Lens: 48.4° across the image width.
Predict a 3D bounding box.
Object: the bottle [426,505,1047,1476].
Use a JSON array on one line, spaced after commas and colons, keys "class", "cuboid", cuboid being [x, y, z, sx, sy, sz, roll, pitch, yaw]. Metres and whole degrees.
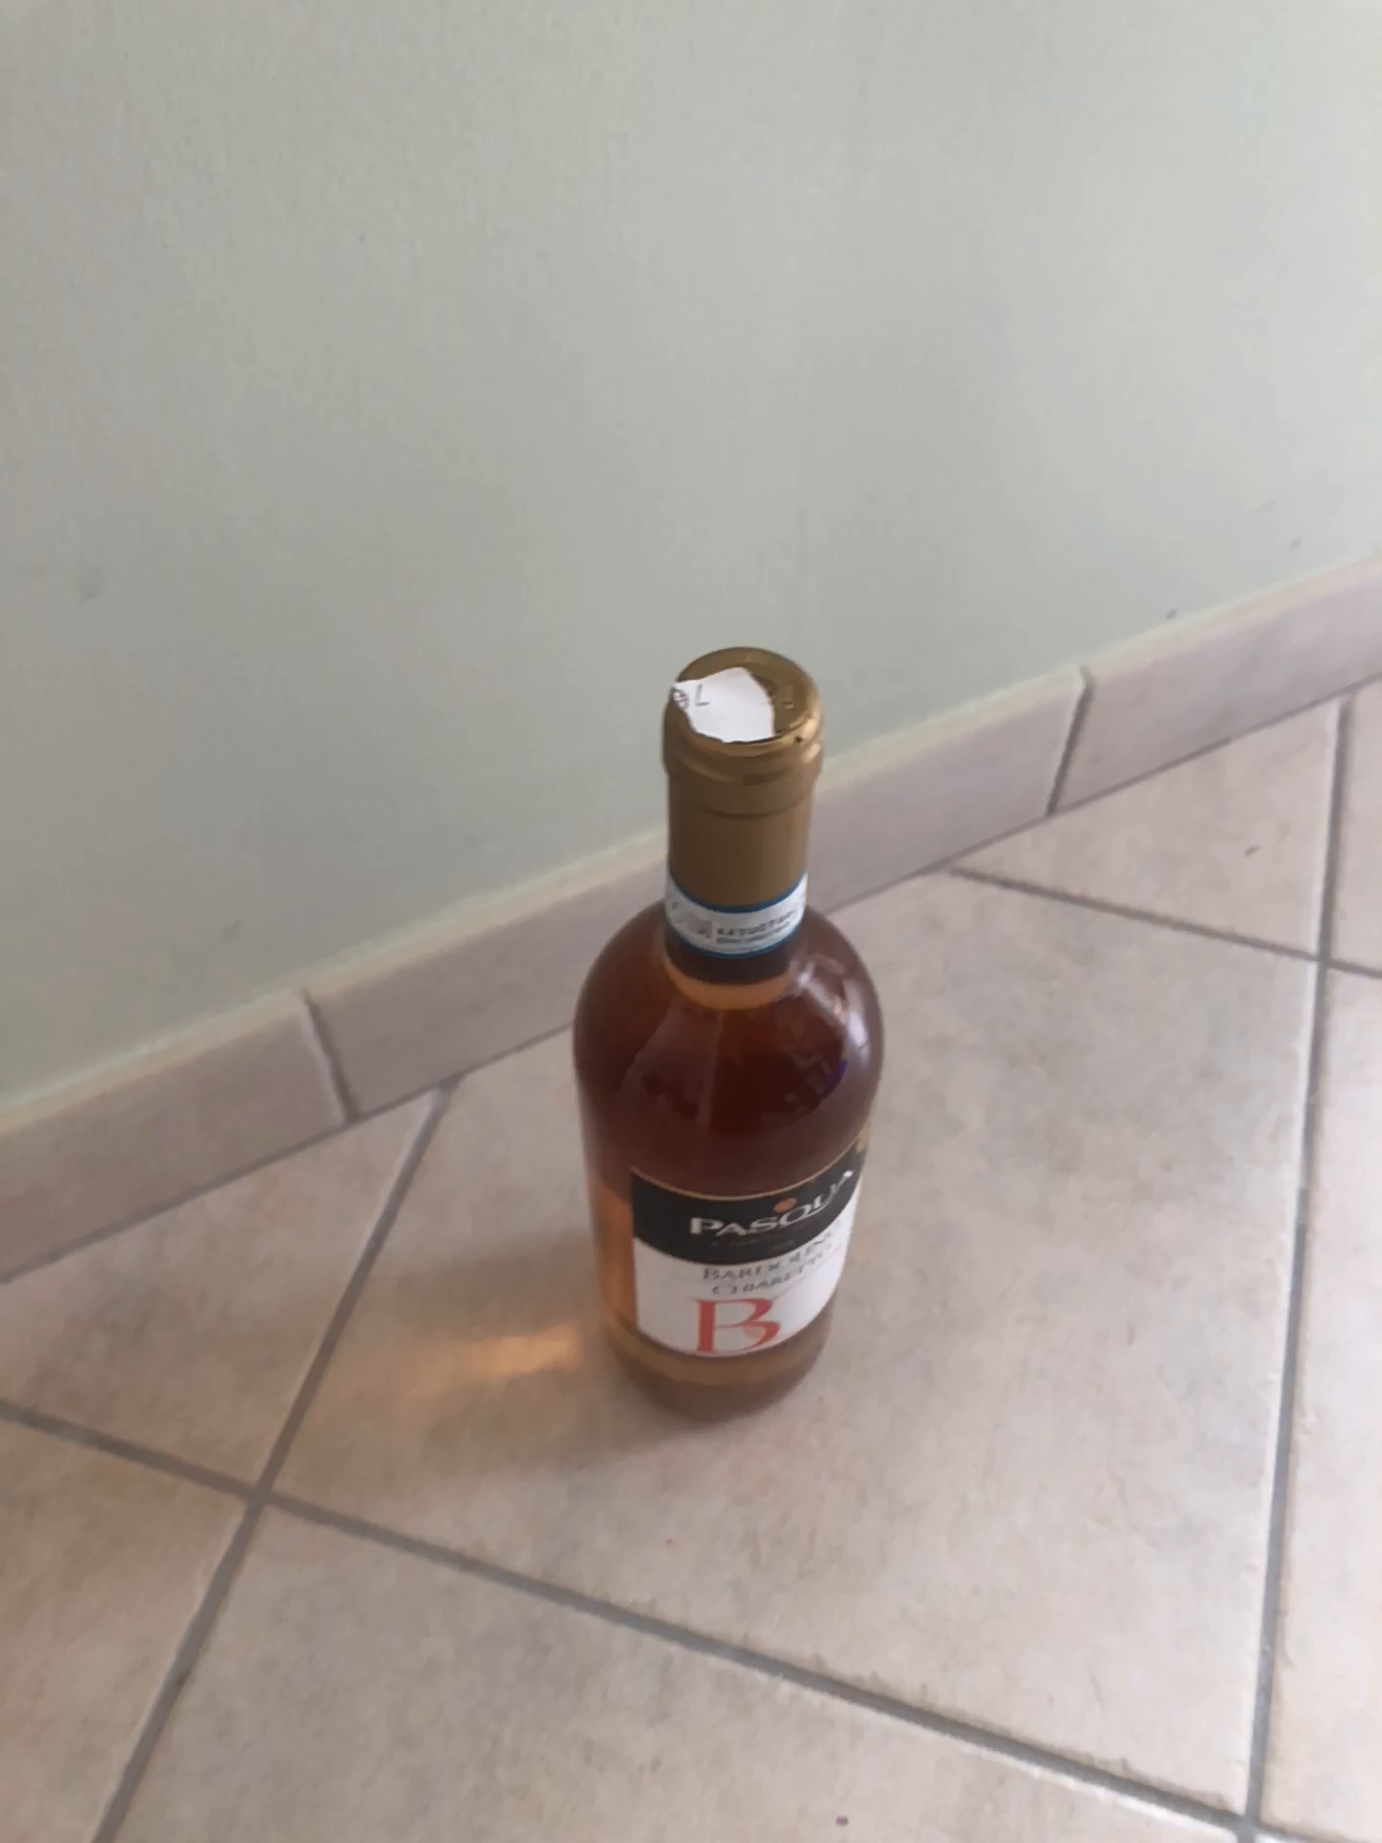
[{"class": "bottle", "cuboid": [0.004, 0.042, 0.366, 0.080, 0.269, 0.080, 0, 55, 0]}]
